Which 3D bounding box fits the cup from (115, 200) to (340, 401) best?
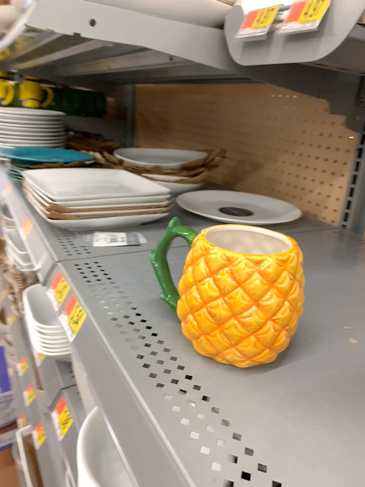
[{"bbox_3d":[0.034,0.033,0.337,0.160,0.100,0.100,18,24,33],"label":"cup"}]
